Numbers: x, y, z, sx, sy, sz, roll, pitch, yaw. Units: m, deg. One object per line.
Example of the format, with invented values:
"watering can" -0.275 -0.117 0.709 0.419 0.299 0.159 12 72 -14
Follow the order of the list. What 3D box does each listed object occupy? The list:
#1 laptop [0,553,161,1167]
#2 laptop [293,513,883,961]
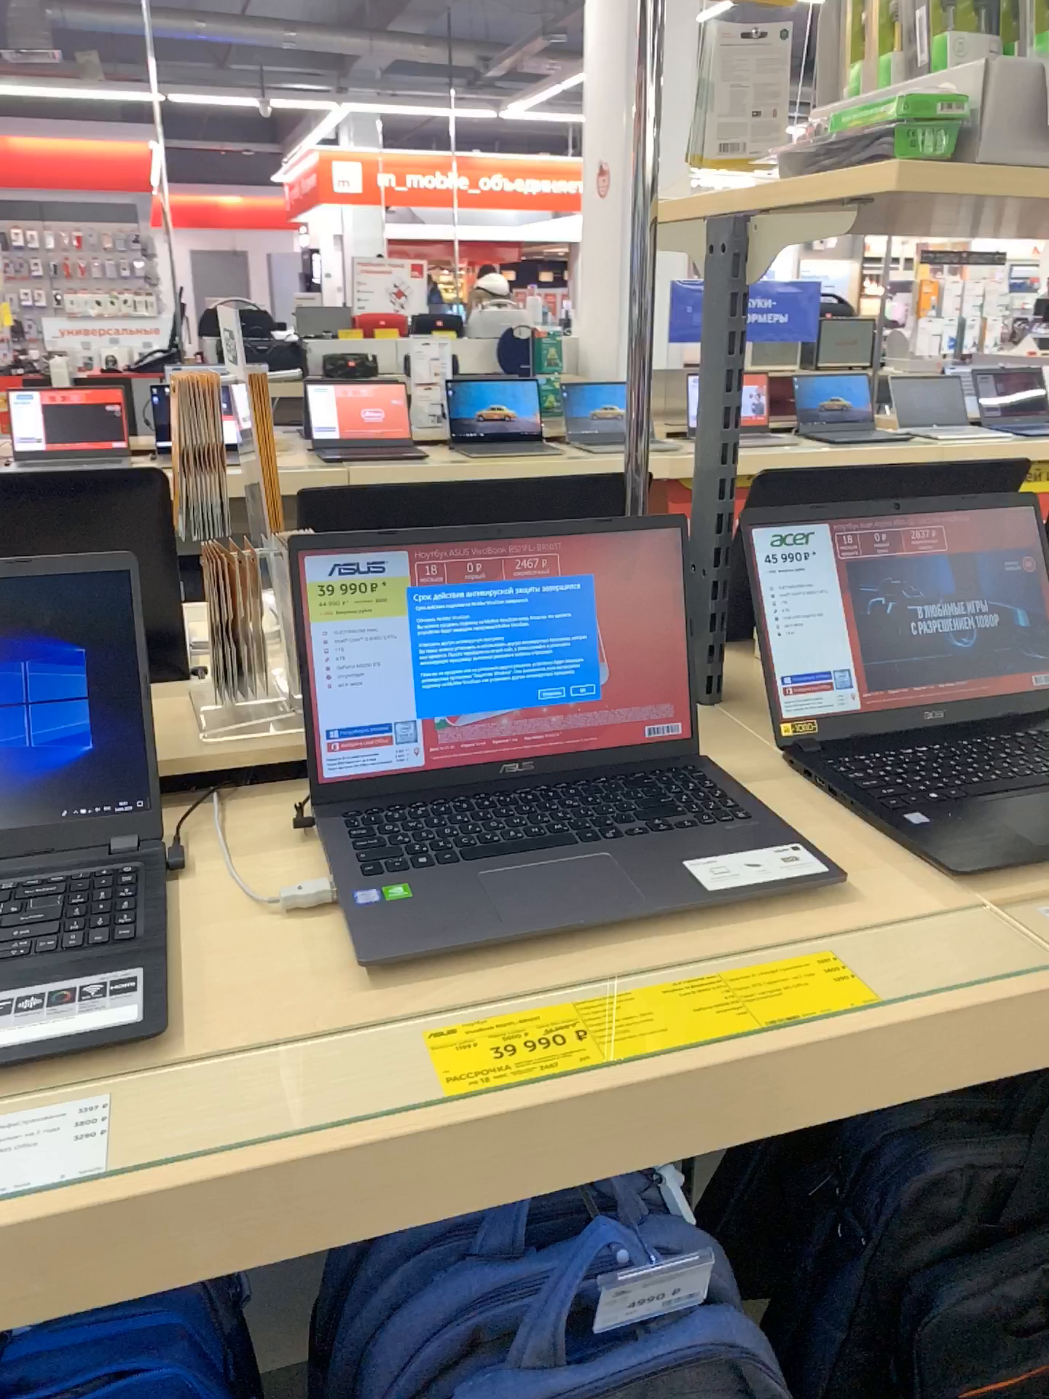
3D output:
"laptop" -0.435 0.053 0.704 0.350 0.214 0.362 -5 20 -18
"laptop" 0.026 -0.002 0.849 0.366 0.217 0.298 -6 21 -17
